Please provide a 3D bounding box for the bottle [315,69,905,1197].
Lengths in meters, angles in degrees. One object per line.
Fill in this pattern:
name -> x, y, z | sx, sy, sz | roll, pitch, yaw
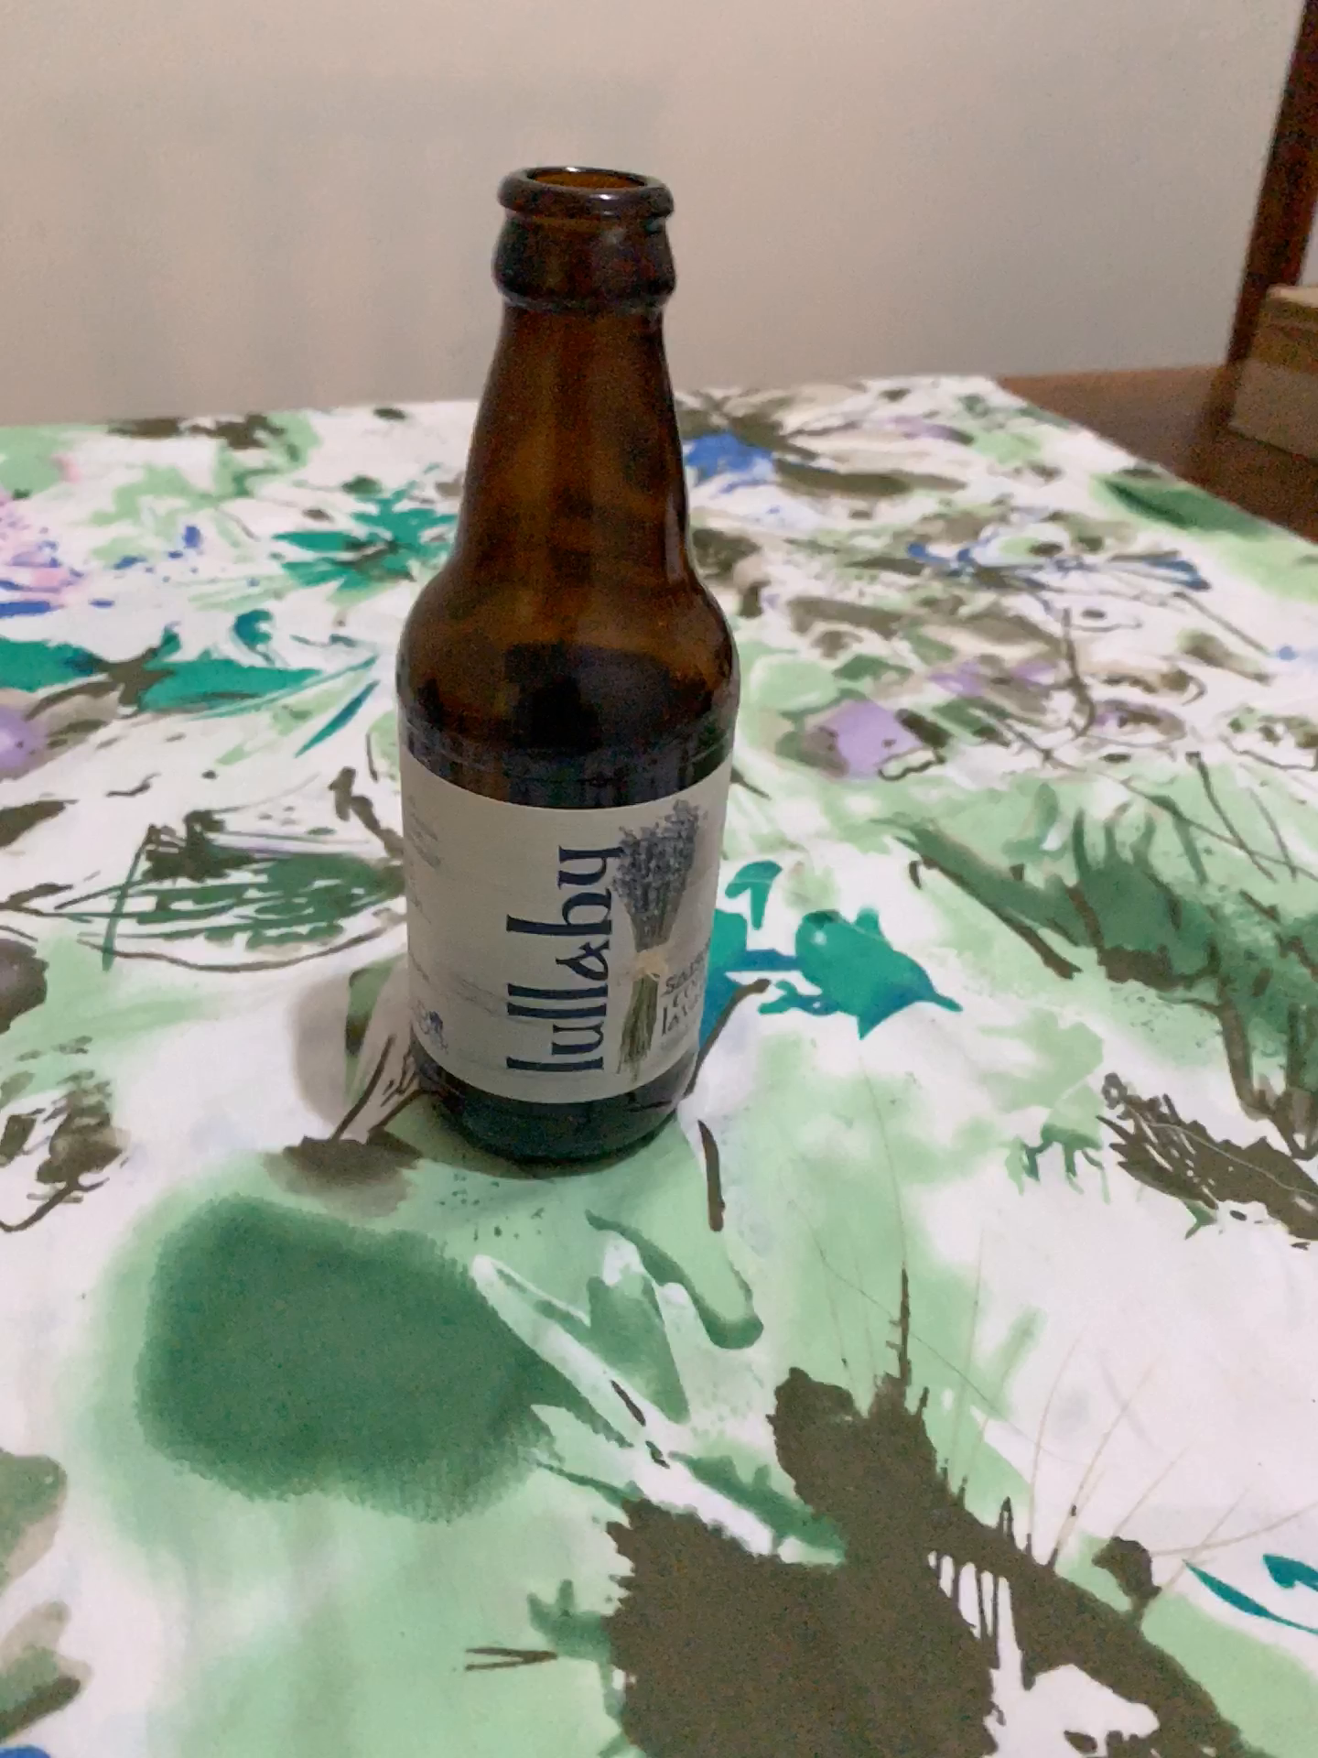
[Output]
bottle -> -0.018, -0.036, 0.245 | 0.070, 0.179, 0.070 | 3, 35, -2
